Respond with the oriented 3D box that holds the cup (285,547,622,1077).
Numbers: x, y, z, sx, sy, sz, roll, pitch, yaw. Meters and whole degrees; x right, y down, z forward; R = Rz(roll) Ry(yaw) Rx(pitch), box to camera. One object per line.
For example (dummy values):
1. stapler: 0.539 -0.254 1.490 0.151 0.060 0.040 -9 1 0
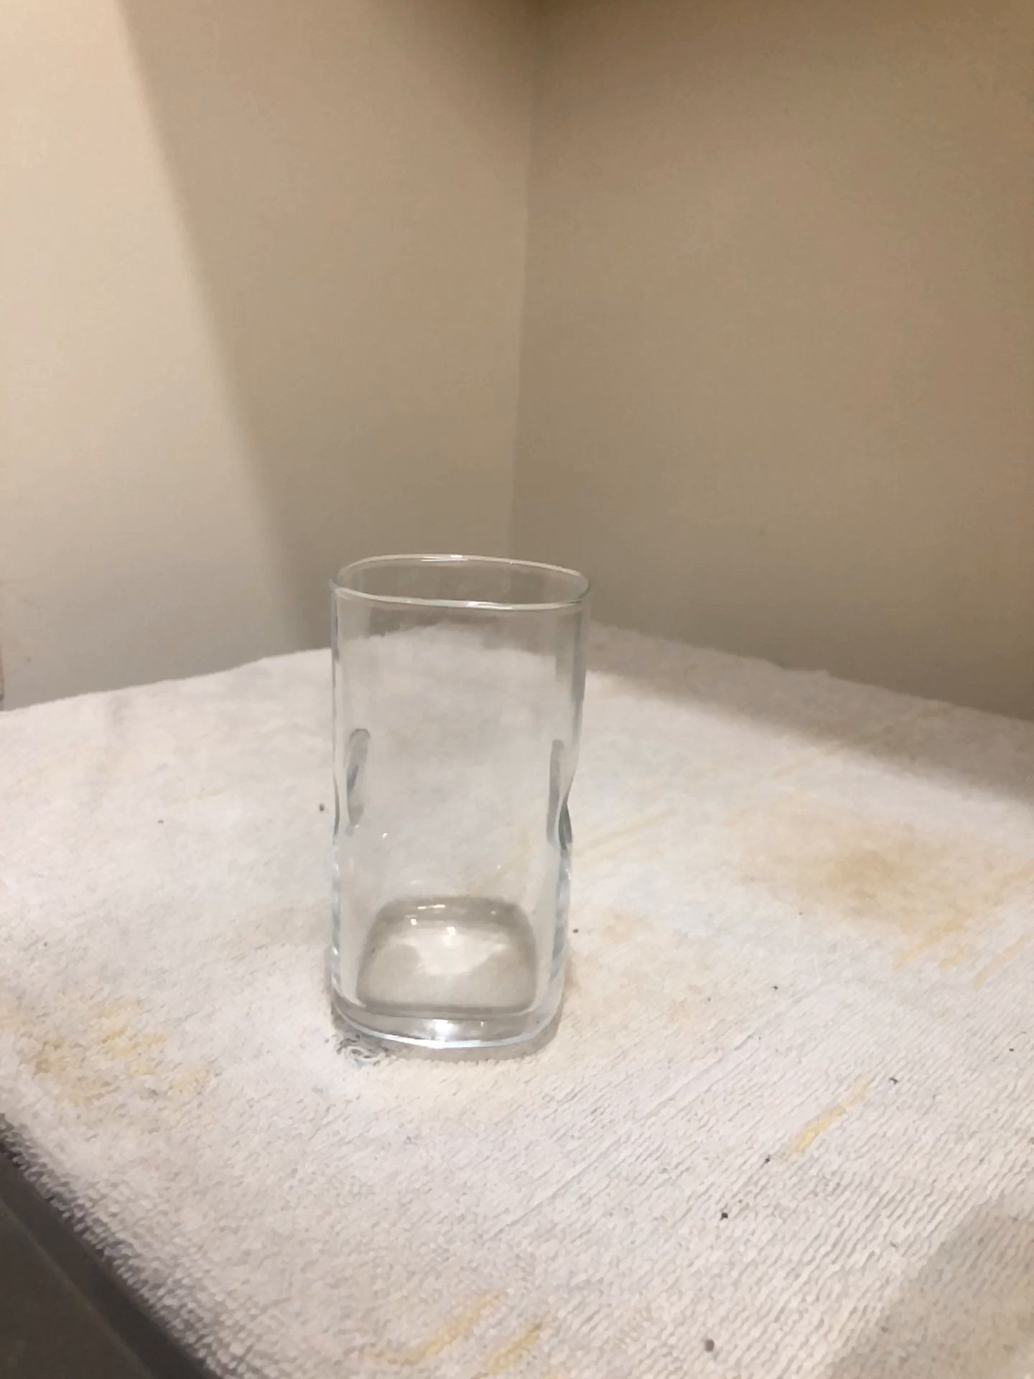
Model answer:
1. cup: -0.015 0.026 0.288 0.070 0.110 0.070 3 14 -1
